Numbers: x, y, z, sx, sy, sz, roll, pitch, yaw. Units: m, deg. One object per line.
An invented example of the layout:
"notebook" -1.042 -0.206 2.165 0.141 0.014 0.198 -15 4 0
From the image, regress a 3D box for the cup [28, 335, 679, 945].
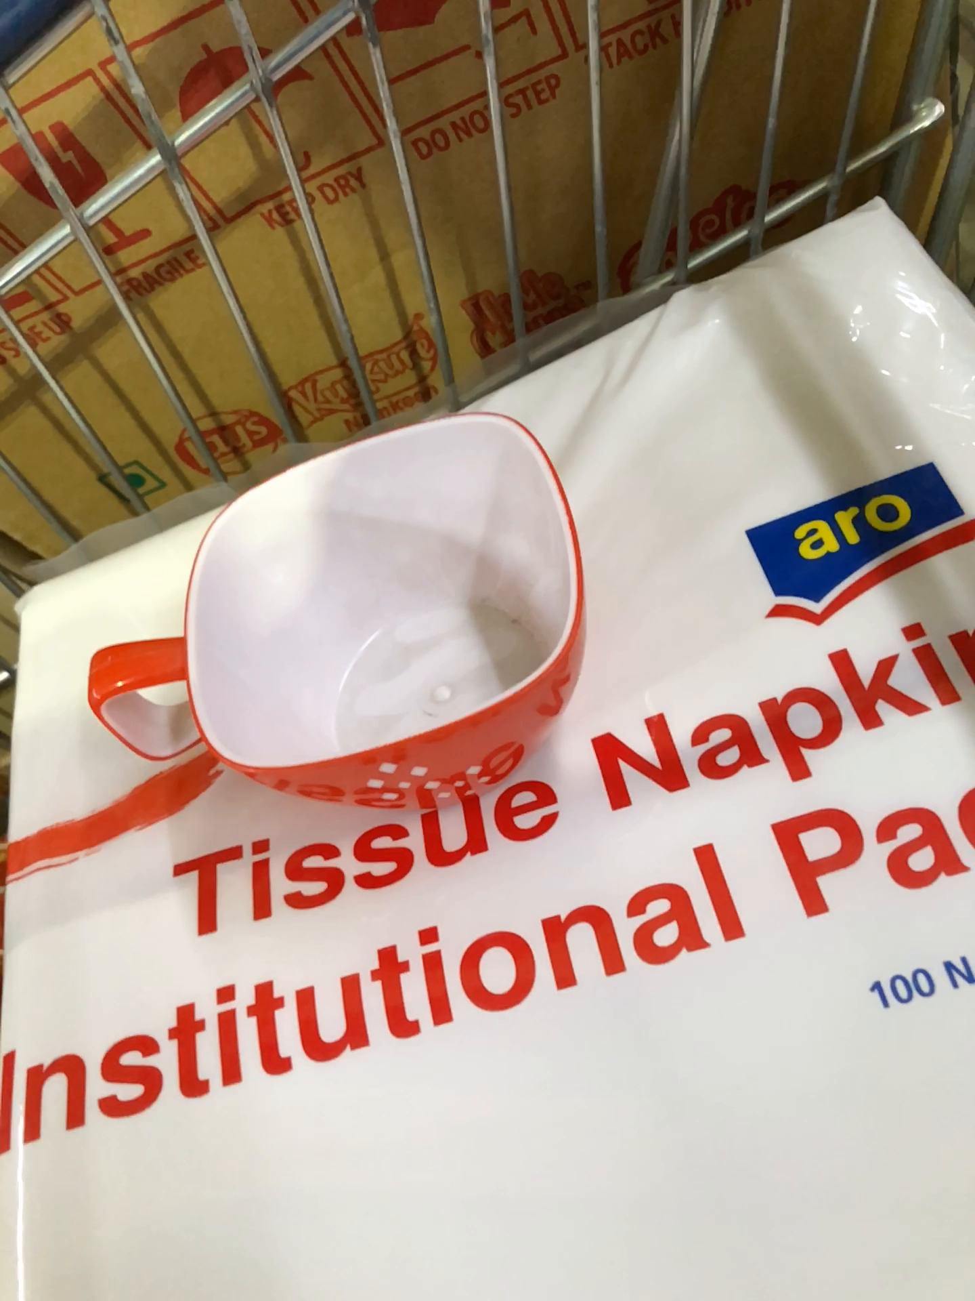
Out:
"cup" -0.029 -0.001 0.244 0.120 0.060 0.090 -16 61 2
